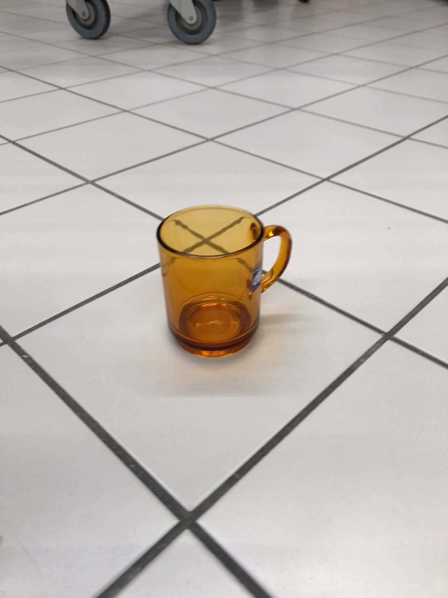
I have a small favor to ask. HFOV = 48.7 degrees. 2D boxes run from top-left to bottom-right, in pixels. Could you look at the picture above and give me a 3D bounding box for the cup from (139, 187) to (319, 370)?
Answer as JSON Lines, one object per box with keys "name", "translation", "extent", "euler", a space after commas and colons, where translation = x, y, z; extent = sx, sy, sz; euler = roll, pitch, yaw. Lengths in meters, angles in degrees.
{"name": "cup", "translation": [0.002, -0.018, 0.351], "extent": [0.096, 0.082, 0.074], "euler": [-17, 39, -20]}
